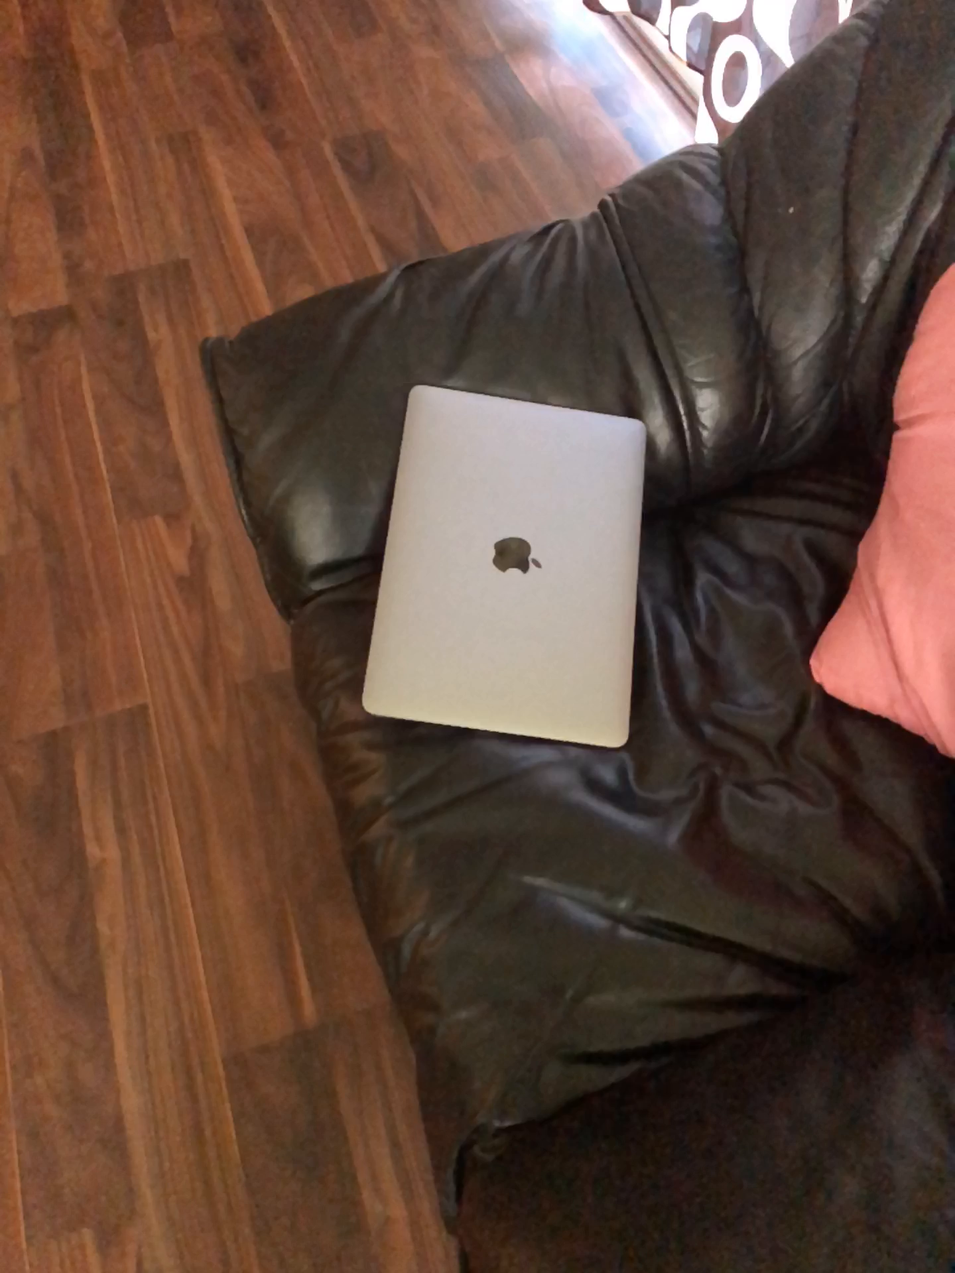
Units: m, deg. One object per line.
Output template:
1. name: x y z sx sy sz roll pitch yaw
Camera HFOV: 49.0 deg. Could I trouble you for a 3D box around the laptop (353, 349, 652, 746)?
1. laptop: 0.027 -0.068 0.754 0.185 0.036 0.265 9 68 -5
